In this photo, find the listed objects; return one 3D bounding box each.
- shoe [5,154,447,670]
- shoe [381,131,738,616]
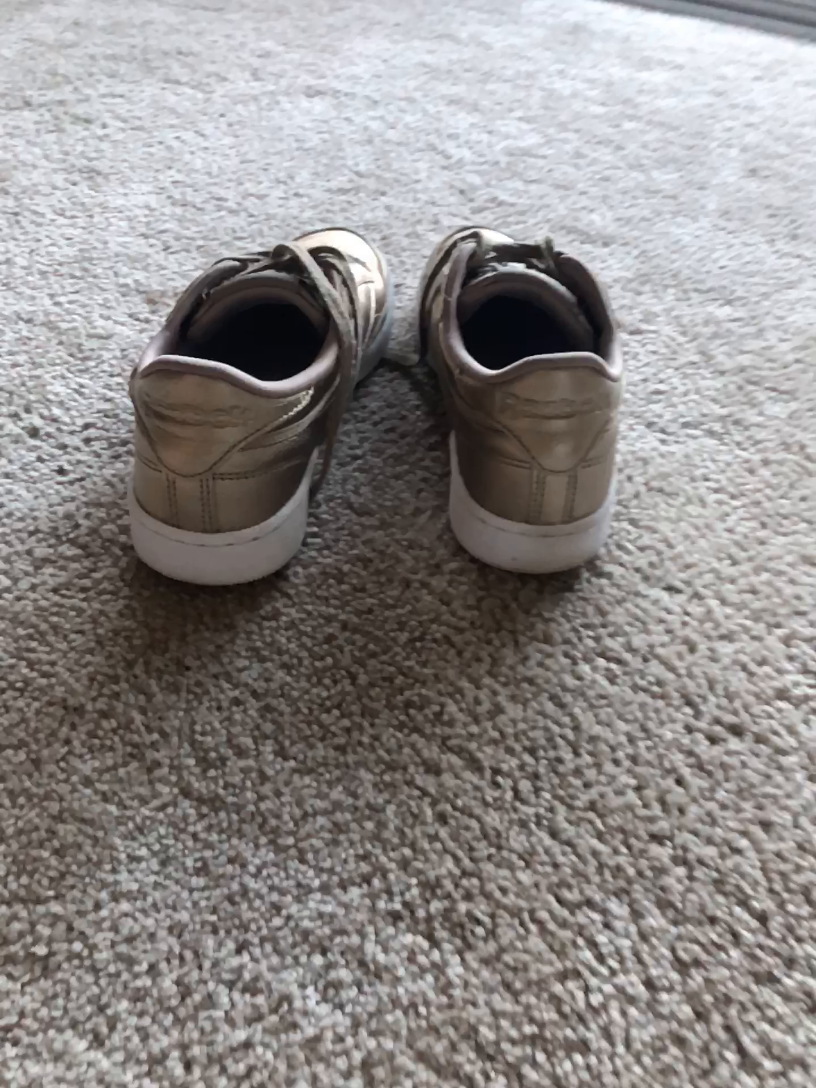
[{"bbox_3d":[-0.055,-0.082,0.407,0.110,0.070,0.281,8,43,3],"label":"shoe"},{"bbox_3d":[0.053,-0.099,0.415,0.110,0.070,0.281,5,43,-1],"label":"shoe"}]
